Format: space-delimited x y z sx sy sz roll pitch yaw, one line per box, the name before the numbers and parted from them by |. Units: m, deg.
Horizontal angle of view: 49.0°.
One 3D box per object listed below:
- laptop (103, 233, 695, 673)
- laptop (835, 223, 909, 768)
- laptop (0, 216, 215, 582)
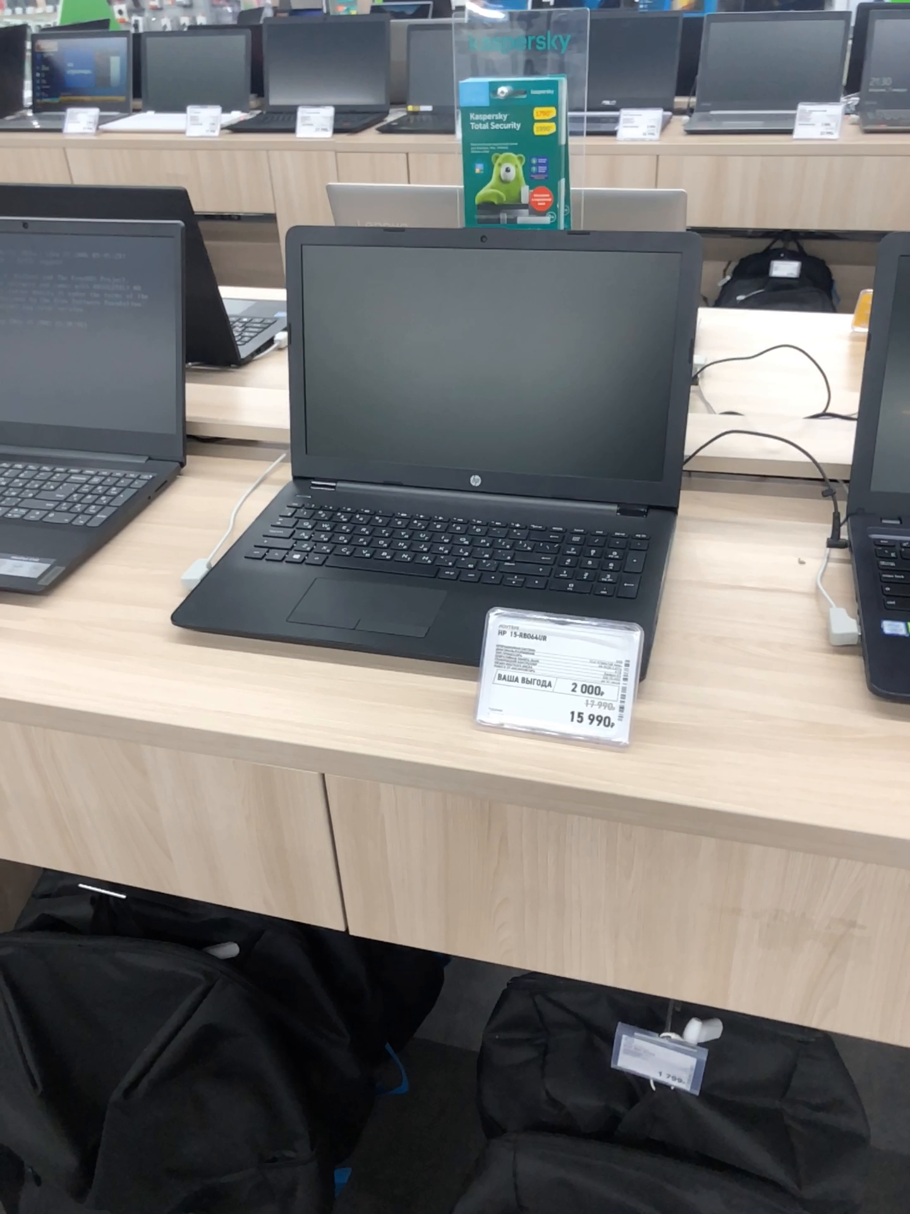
laptop | -0.014 -0.148 0.805 0.366 0.216 0.313 6 35 14
laptop | 0.494 -0.110 0.697 0.369 0.209 0.335 5 36 12
laptop | -0.477 -0.217 0.950 0.331 0.213 0.329 6 35 14
